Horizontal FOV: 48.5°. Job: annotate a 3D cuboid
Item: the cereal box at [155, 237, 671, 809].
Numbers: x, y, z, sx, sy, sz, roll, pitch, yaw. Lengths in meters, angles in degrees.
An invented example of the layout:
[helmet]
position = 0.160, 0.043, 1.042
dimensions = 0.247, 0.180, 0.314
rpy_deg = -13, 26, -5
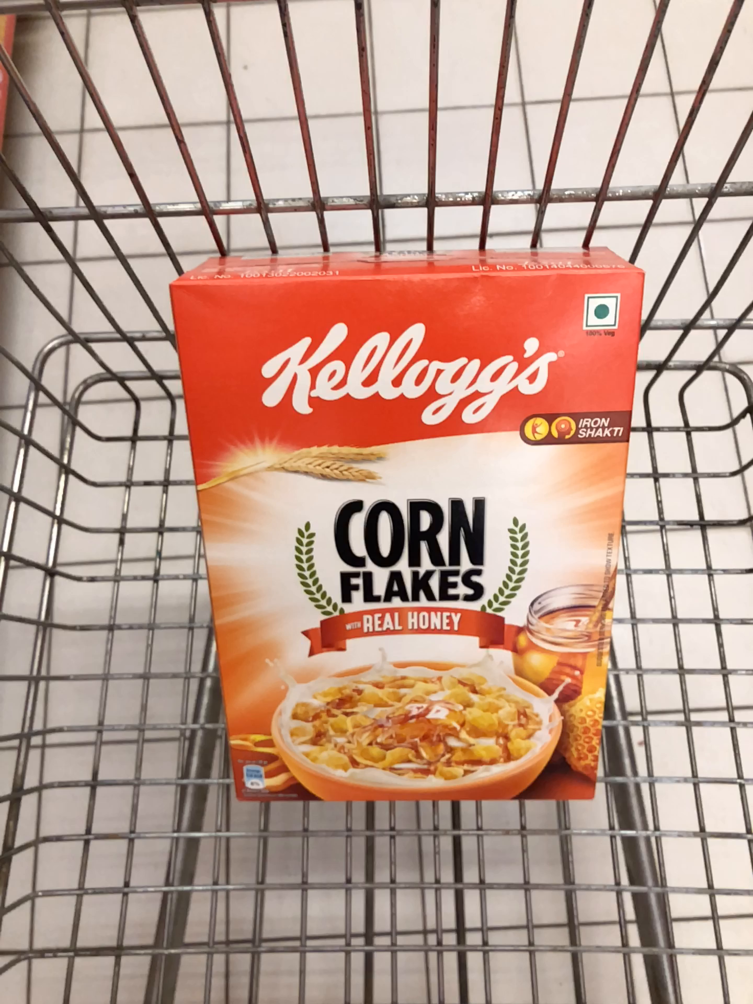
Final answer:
[cereal box]
position = 0.017, 0.017, 0.397
dimensions = 0.190, 0.080, 0.259
rpy_deg = -1, 114, 2
